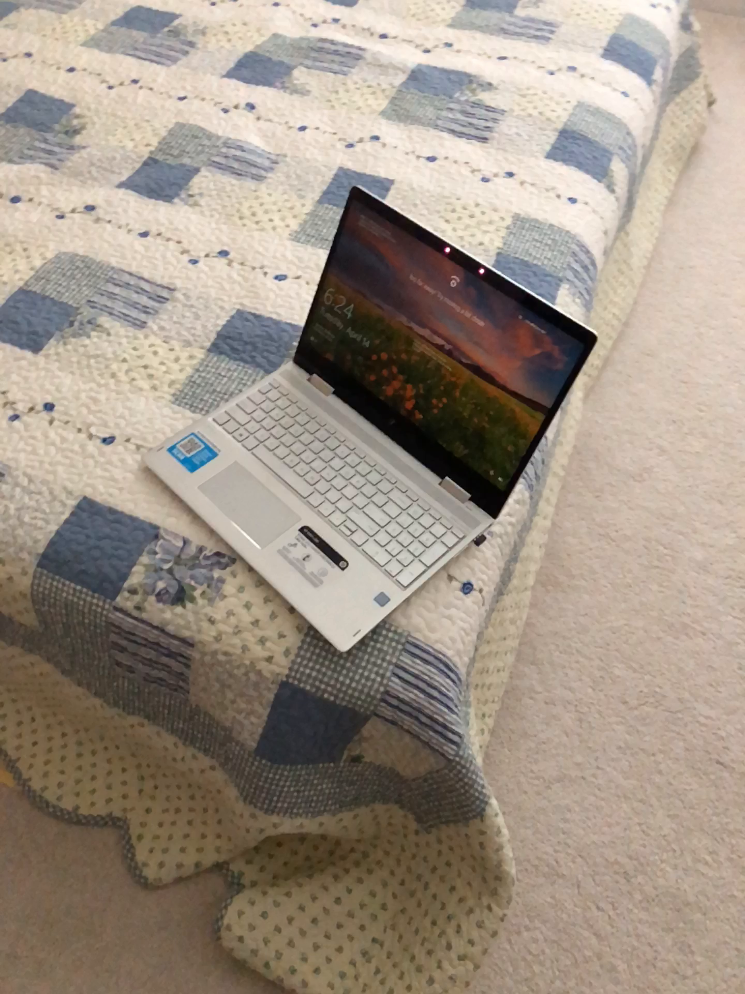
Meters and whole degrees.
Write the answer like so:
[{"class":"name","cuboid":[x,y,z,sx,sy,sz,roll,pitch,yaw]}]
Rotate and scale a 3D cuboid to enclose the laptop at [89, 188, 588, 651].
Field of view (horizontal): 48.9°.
[{"class":"laptop","cuboid":[-0.031,-0.105,0.914,0.358,0.208,0.356,-38,63,-25]}]
